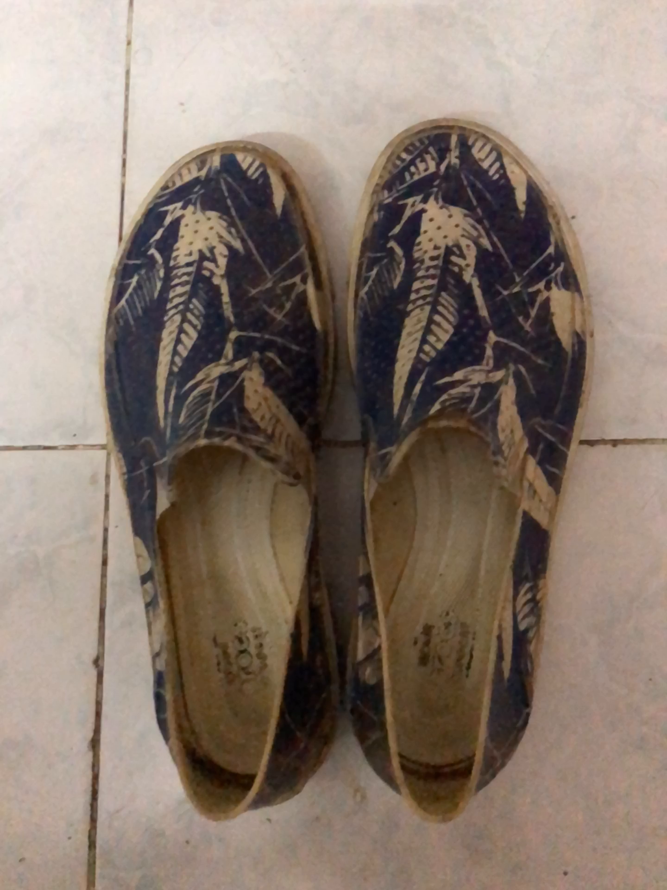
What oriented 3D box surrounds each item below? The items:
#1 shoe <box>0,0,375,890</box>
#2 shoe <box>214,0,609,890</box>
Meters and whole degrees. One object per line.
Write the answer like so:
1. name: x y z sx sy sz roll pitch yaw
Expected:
1. shoe: -0.057 -0.005 0.304 0.110 0.100 0.310 -6 81 5
2. shoe: 0.039 -0.003 0.291 0.110 0.100 0.300 3 82 14
